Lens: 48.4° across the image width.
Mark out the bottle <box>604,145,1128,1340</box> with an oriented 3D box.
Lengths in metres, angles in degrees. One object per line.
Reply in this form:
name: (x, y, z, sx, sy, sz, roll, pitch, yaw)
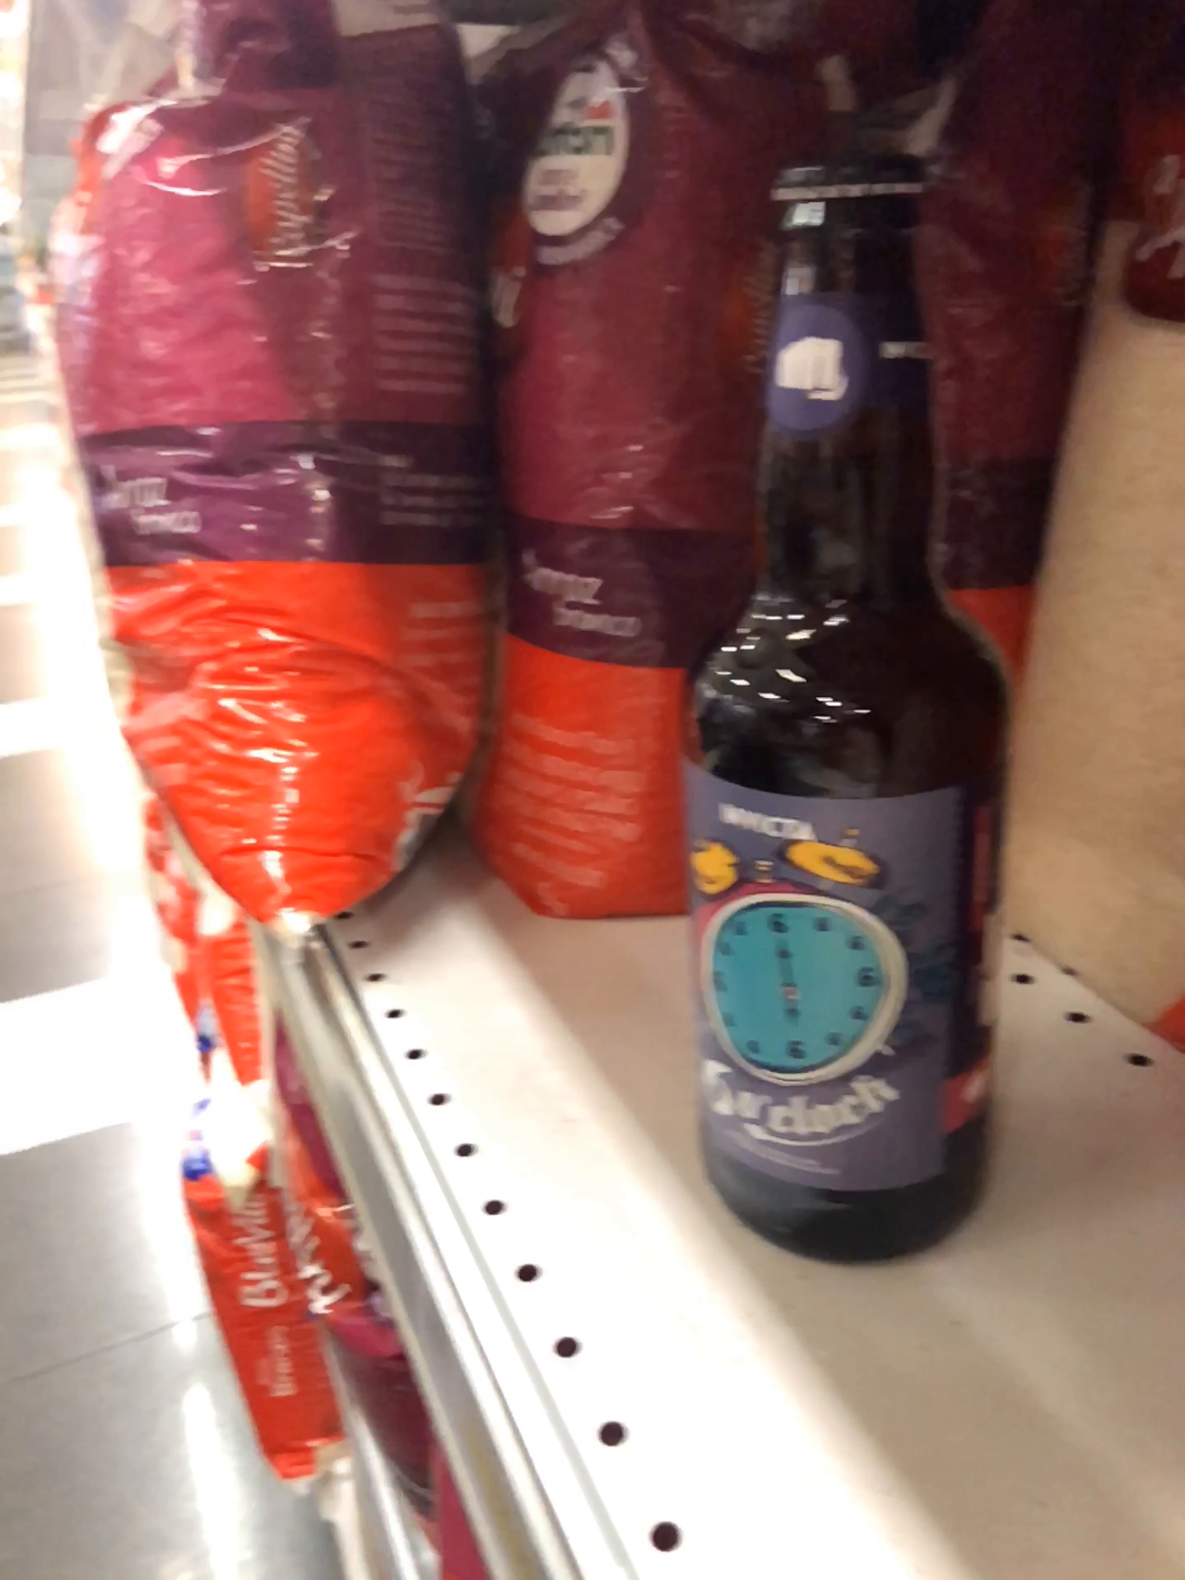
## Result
bottle: (0.058, -0.008, 0.281, 0.070, 0.228, 0.070, -4, 23, 1)
